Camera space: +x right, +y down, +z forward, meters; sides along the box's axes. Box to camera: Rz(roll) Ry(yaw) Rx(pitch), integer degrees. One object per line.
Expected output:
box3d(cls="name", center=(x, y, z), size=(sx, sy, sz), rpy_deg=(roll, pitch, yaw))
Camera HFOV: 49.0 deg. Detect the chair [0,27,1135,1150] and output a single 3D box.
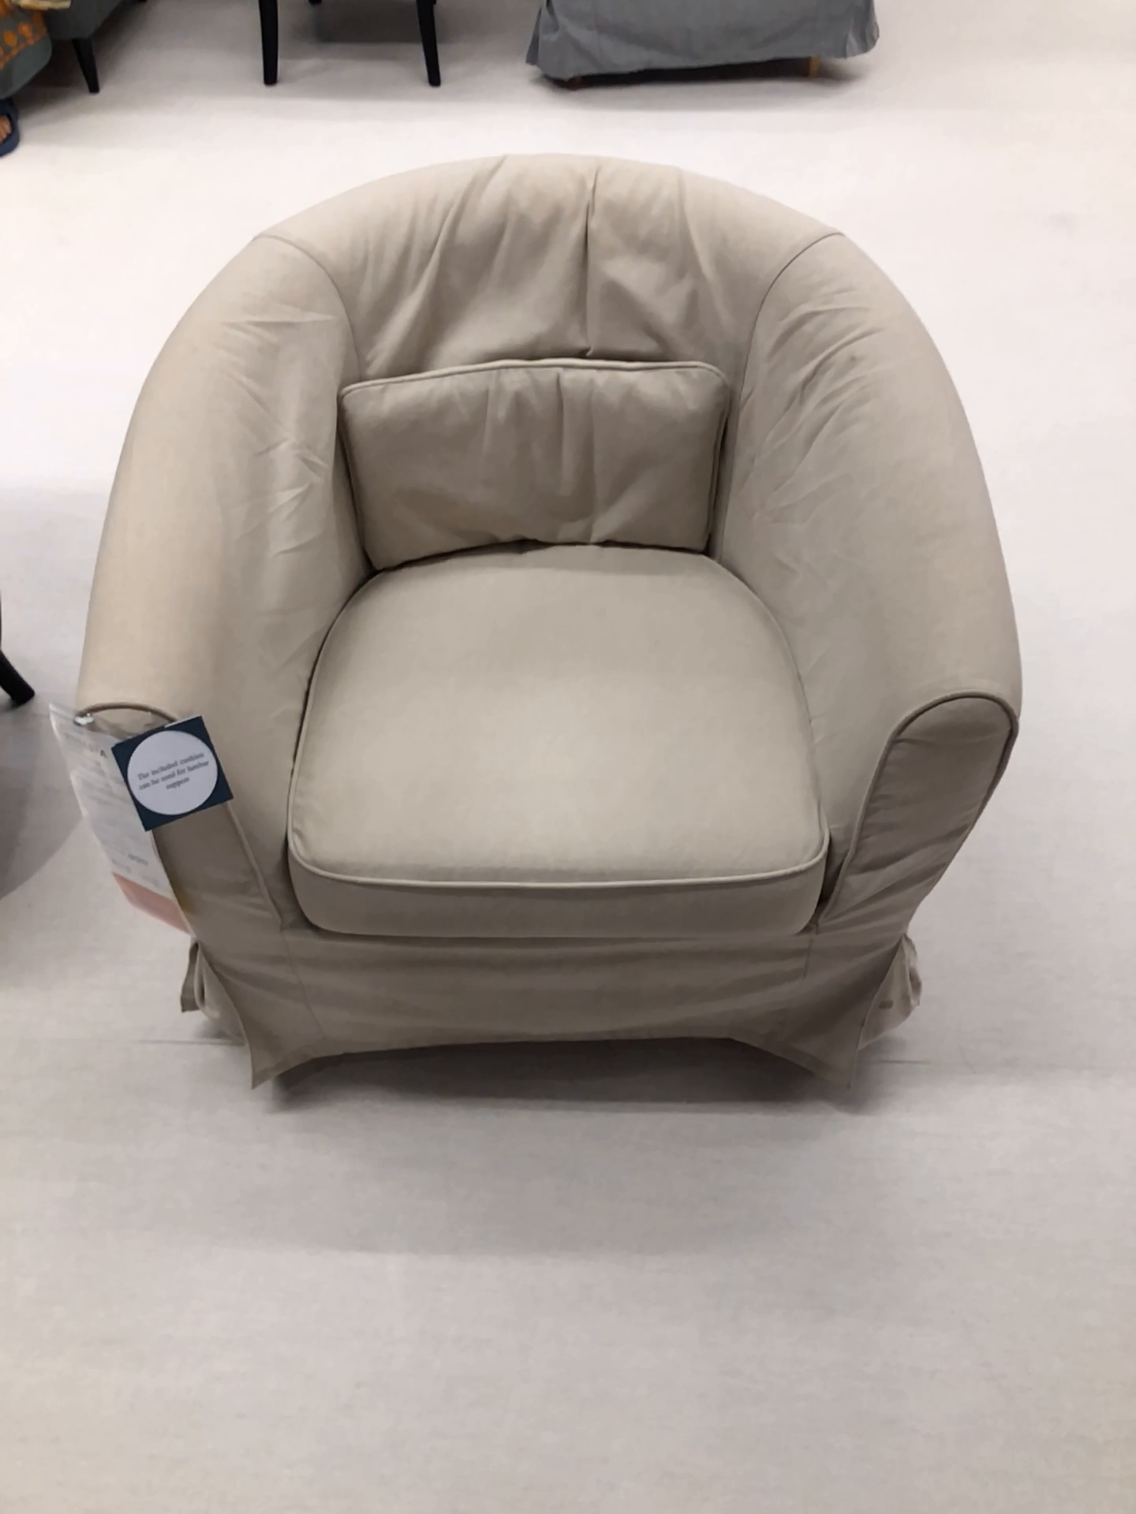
box3d(cls="chair", center=(-0.011, -0.124, 1.212), size=(0.860, 0.805, 0.704), rpy_deg=(-1, 52, -1))
